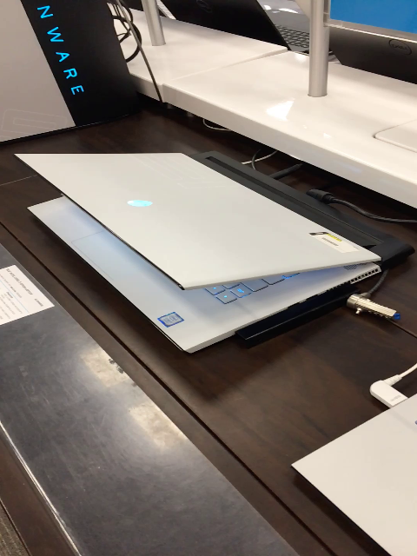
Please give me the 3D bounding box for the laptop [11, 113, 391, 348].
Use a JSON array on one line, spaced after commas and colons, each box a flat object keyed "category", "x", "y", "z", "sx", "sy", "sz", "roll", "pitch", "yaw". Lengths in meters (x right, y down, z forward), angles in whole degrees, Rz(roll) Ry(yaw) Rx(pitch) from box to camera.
[{"category": "laptop", "x": -0.028, "y": -0.079, "z": 0.615, "sx": 0.232, "sy": 0.085, "sz": 0.333, "roll": -25, "pitch": 42, "yaw": -24}]
